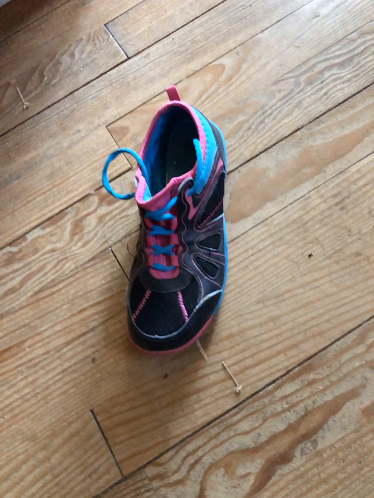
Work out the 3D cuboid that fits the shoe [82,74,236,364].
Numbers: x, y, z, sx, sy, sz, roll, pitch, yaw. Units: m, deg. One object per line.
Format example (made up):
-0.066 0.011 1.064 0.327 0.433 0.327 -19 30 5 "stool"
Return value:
-0.013 -0.028 0.406 0.110 0.100 0.261 2 73 8 "shoe"
